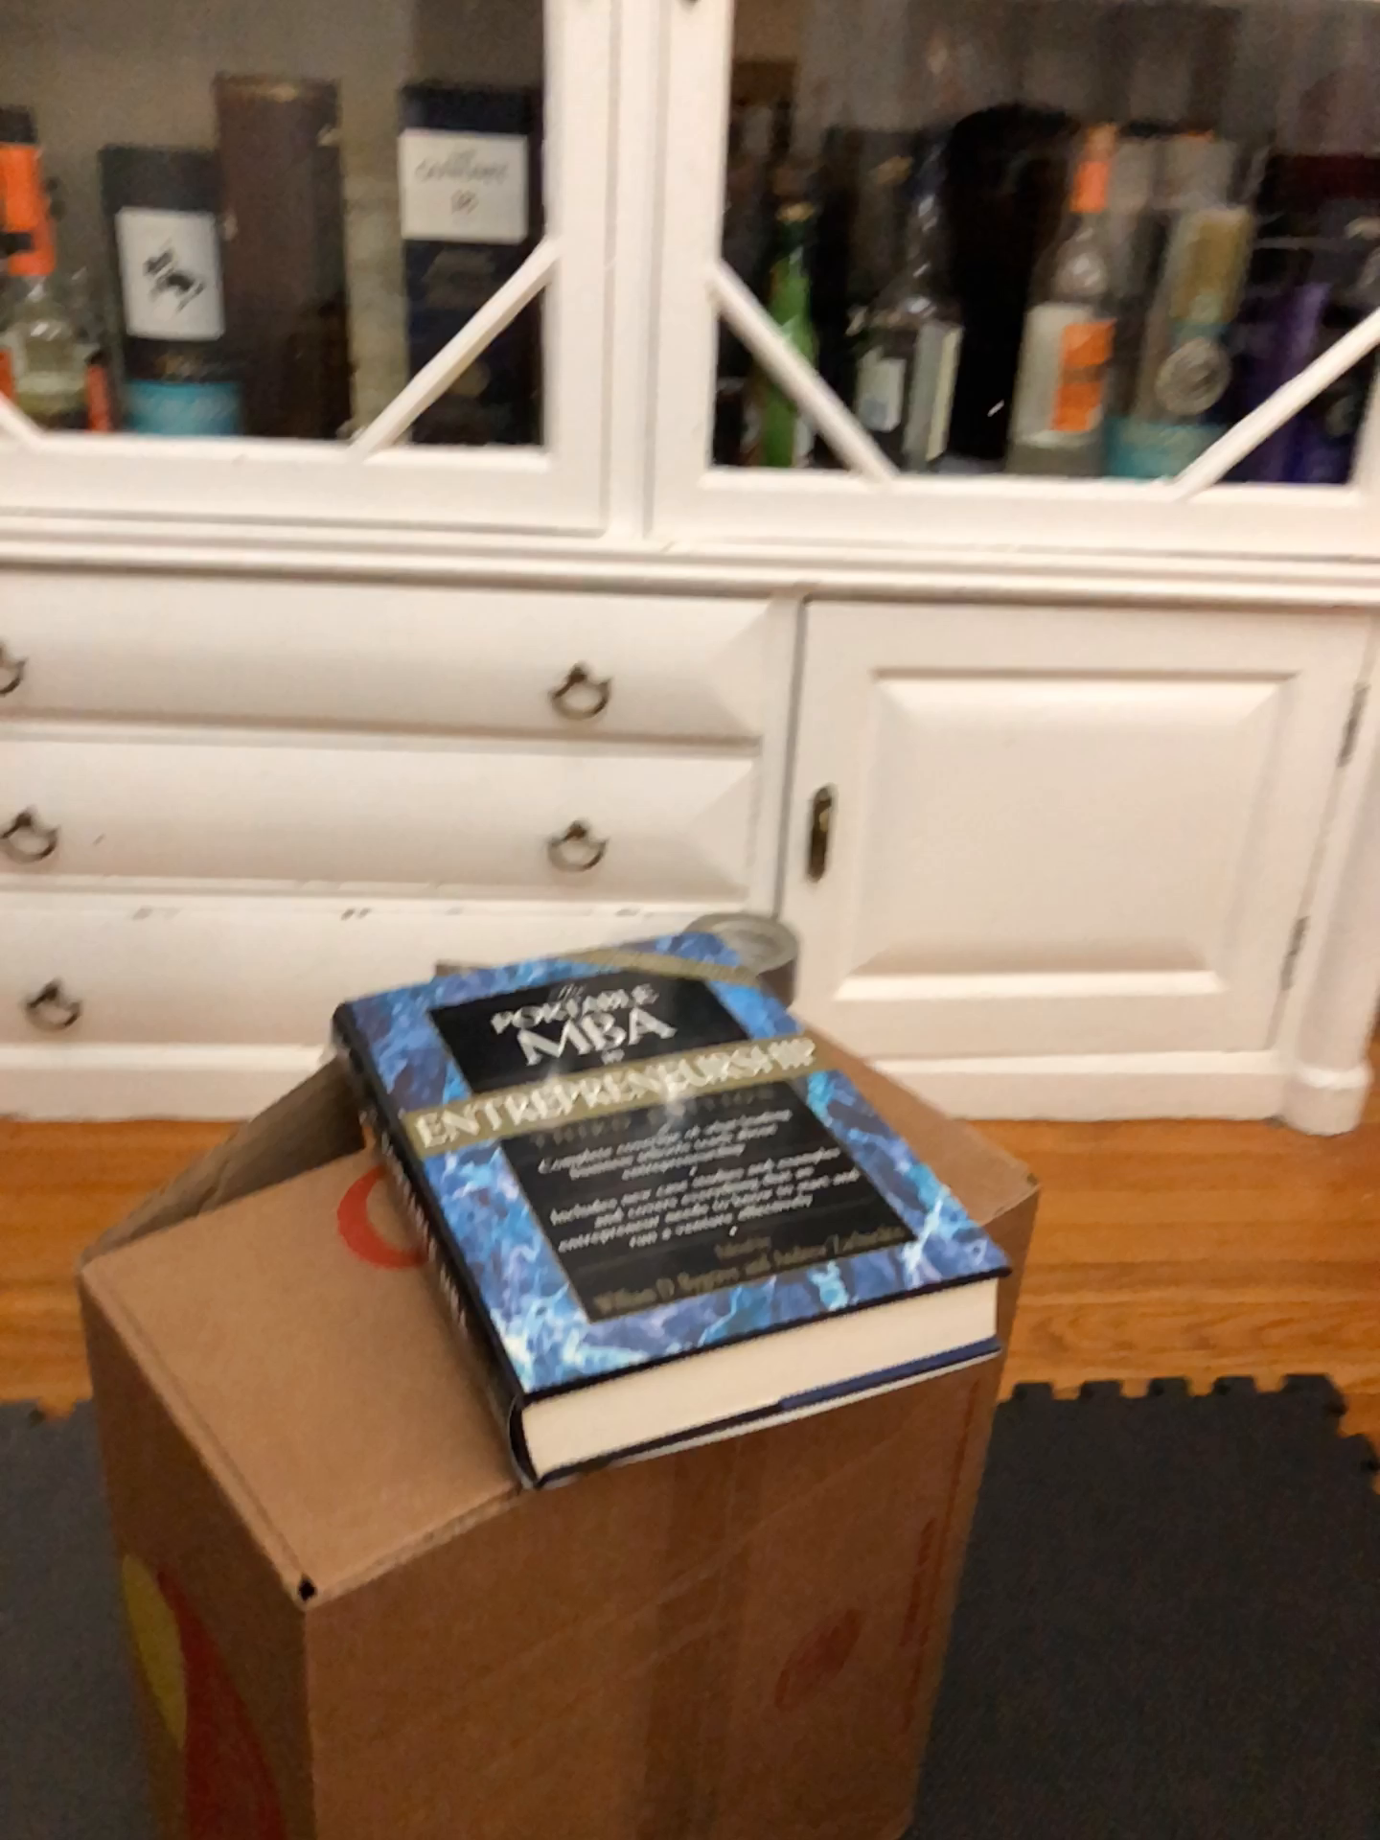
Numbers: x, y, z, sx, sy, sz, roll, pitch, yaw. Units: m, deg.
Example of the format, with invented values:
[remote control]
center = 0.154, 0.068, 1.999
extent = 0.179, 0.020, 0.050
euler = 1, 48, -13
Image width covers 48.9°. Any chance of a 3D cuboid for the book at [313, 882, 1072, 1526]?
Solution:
[book]
center = -0.017, 0.088, 0.618
extent = 0.210, 0.060, 0.271
euler = -10, 32, -23
